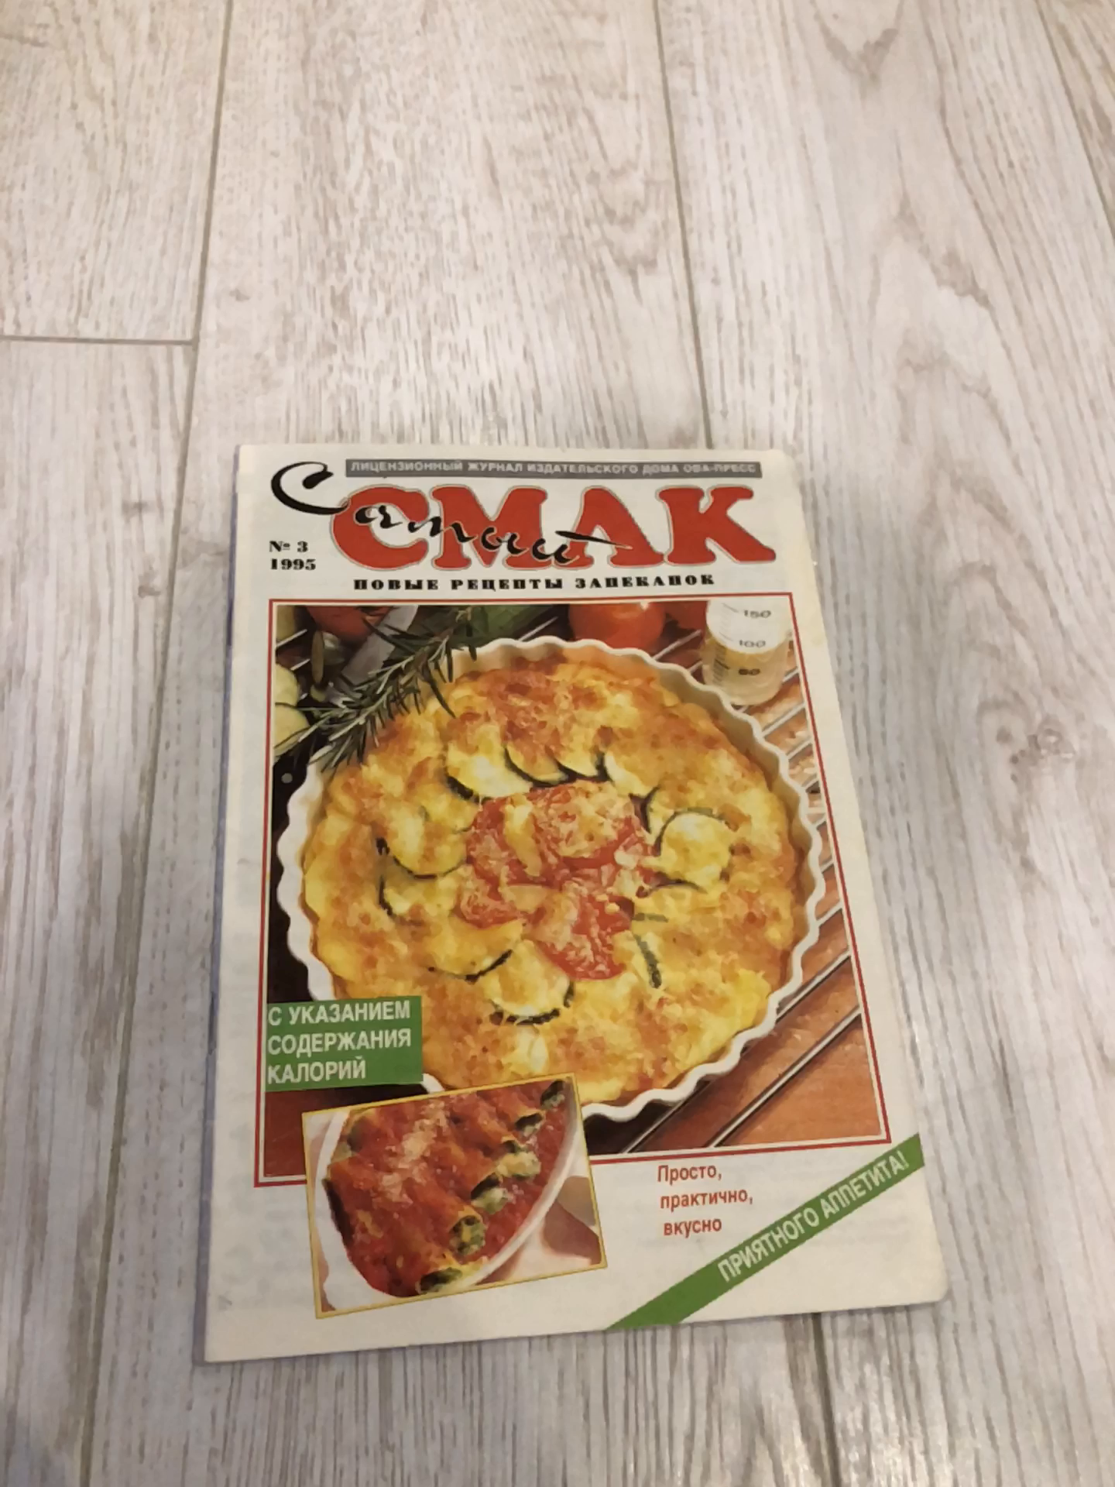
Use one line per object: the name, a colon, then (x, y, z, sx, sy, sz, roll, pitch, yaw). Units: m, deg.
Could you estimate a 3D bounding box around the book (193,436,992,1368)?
book: (0.002, 0.021, 0.310, 0.165, 0.020, 0.230, -1, 65, -7)
